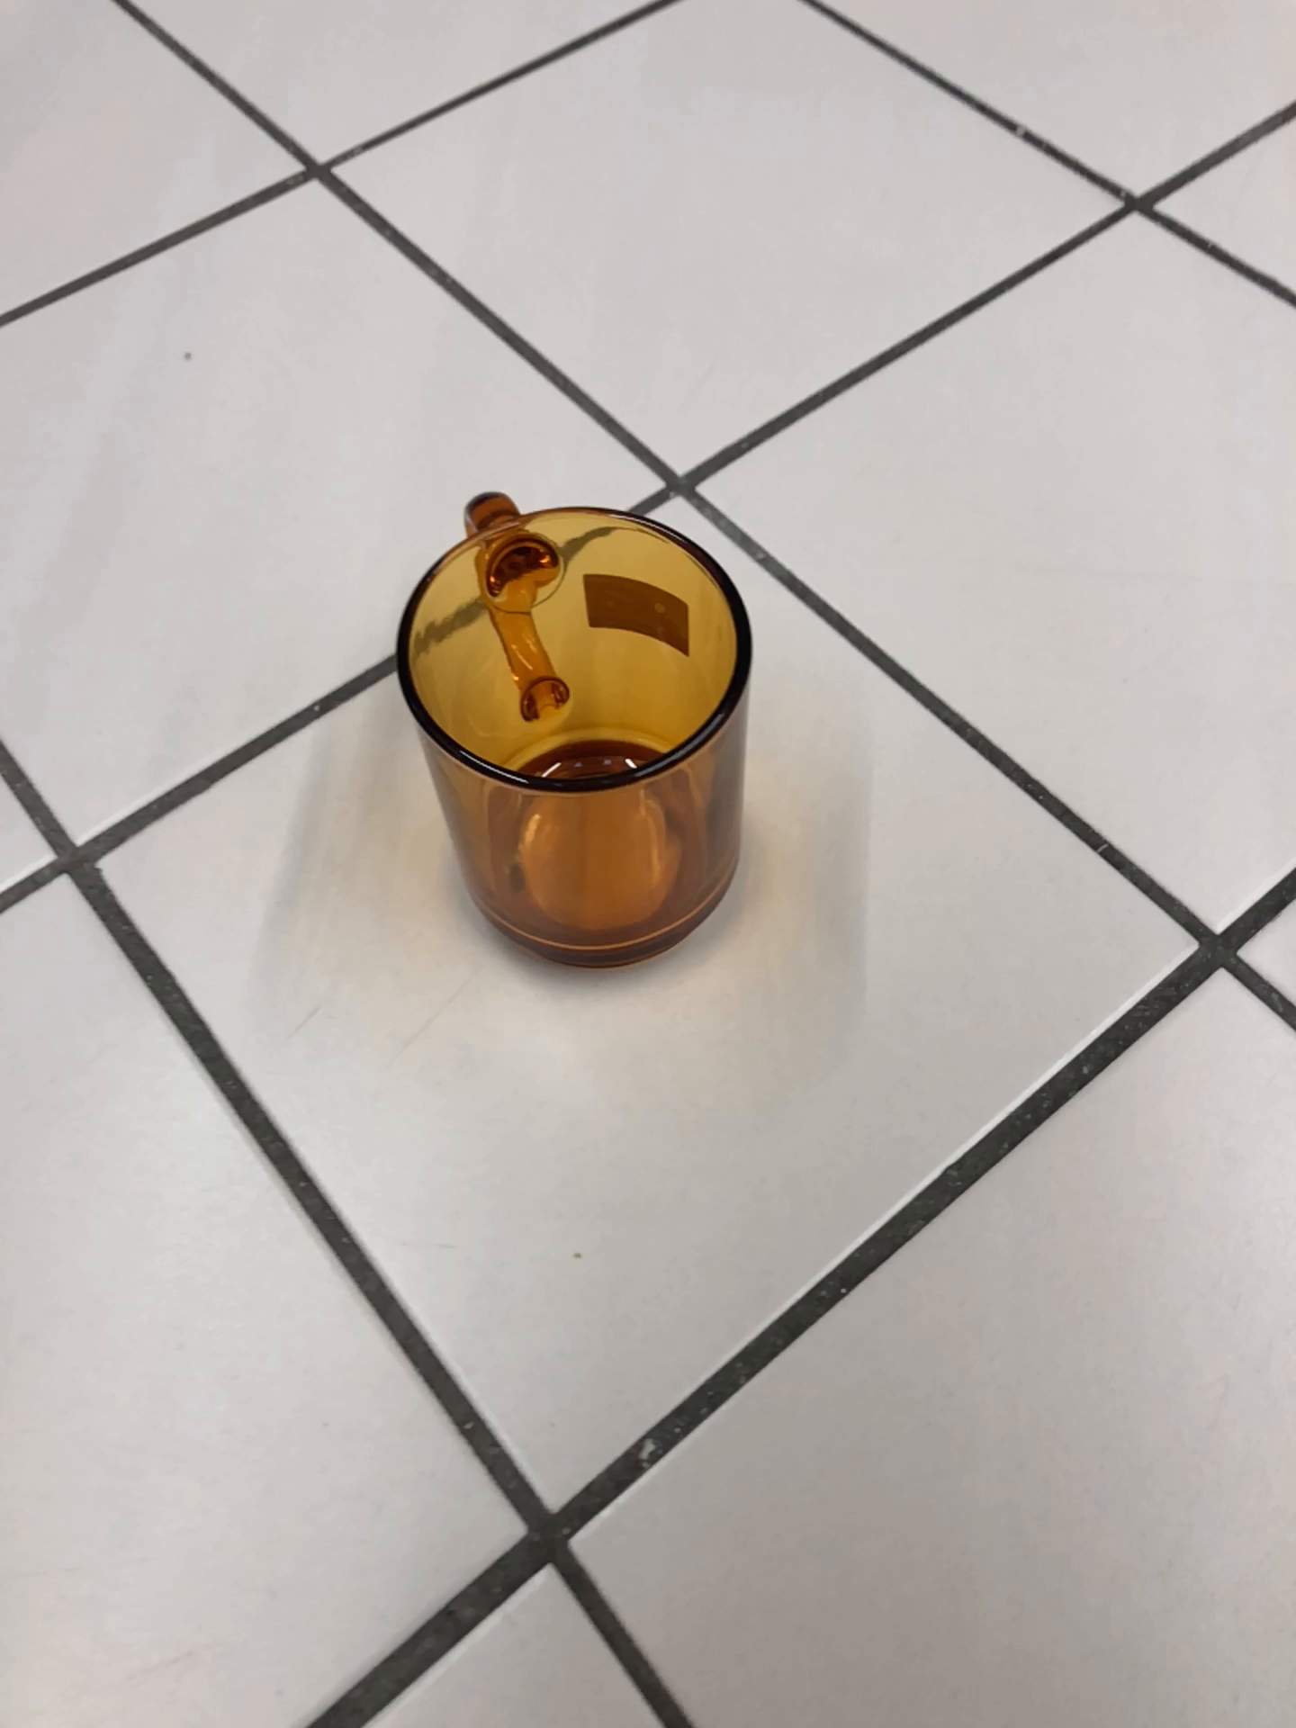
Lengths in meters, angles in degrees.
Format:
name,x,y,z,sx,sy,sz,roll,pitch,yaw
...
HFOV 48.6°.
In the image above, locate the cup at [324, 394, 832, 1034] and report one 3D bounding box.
name,x,y,z,sx,sy,sz,roll,pitch,yaw
cup,-0.016,-0.032,0.321,0.074,0.082,0.096,-18,60,-9
